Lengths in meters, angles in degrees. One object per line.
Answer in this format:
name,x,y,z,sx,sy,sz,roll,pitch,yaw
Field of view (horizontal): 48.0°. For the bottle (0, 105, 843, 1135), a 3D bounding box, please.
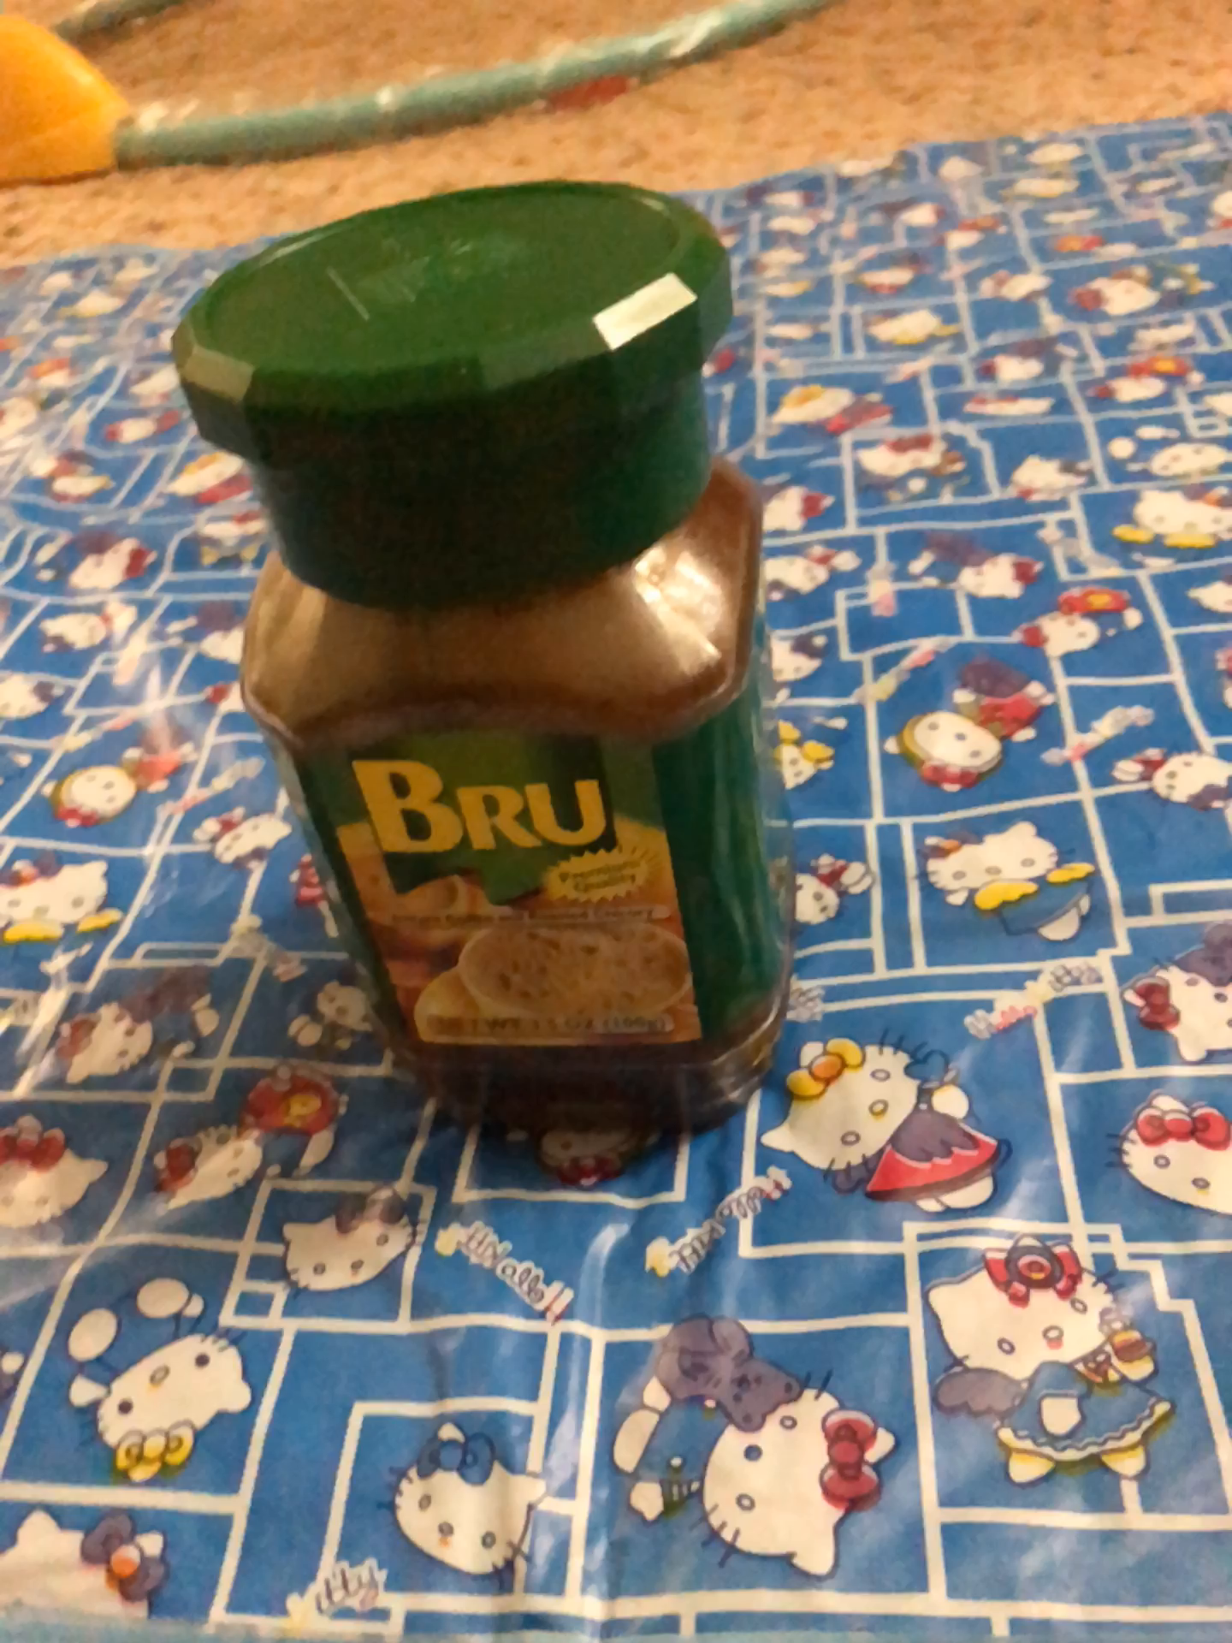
bottle,-0.012,-0.022,0.196,0.080,0.120,0.070,-1,41,12
